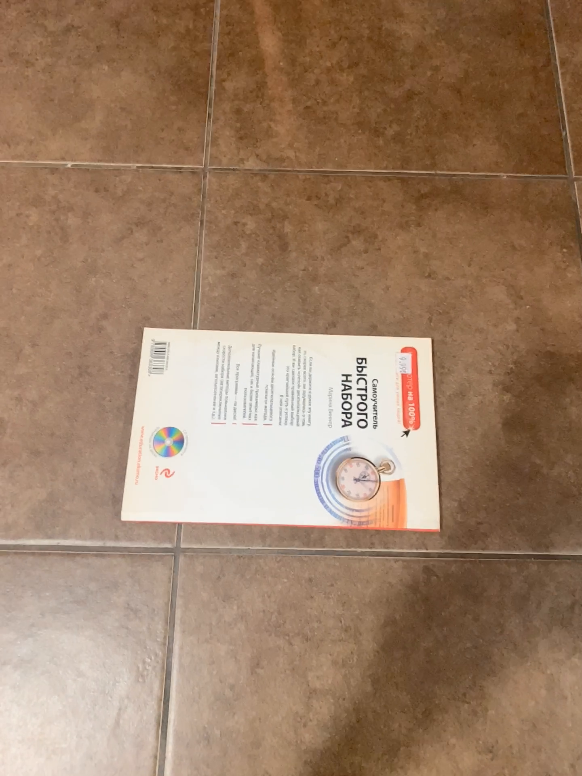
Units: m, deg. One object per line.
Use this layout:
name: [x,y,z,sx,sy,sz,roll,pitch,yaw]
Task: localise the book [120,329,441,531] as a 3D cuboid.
book: [-0.005,0.026,0.414,0.210,0.009,0.134,2,73,0]
